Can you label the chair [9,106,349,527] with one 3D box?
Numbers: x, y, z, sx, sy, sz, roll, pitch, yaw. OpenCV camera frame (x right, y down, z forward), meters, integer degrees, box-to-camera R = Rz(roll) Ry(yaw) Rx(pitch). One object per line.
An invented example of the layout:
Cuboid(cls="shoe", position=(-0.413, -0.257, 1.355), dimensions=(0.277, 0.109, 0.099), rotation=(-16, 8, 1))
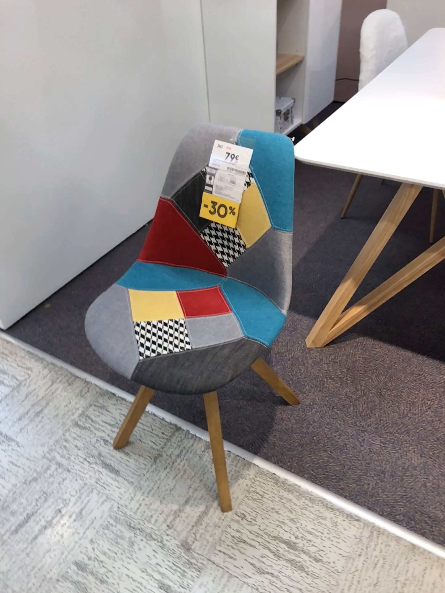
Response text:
Cuboid(cls="chair", position=(-0.040, 0.045, 1.223), dimensions=(0.470, 0.815, 0.513), rotation=(18, 44, 25))
